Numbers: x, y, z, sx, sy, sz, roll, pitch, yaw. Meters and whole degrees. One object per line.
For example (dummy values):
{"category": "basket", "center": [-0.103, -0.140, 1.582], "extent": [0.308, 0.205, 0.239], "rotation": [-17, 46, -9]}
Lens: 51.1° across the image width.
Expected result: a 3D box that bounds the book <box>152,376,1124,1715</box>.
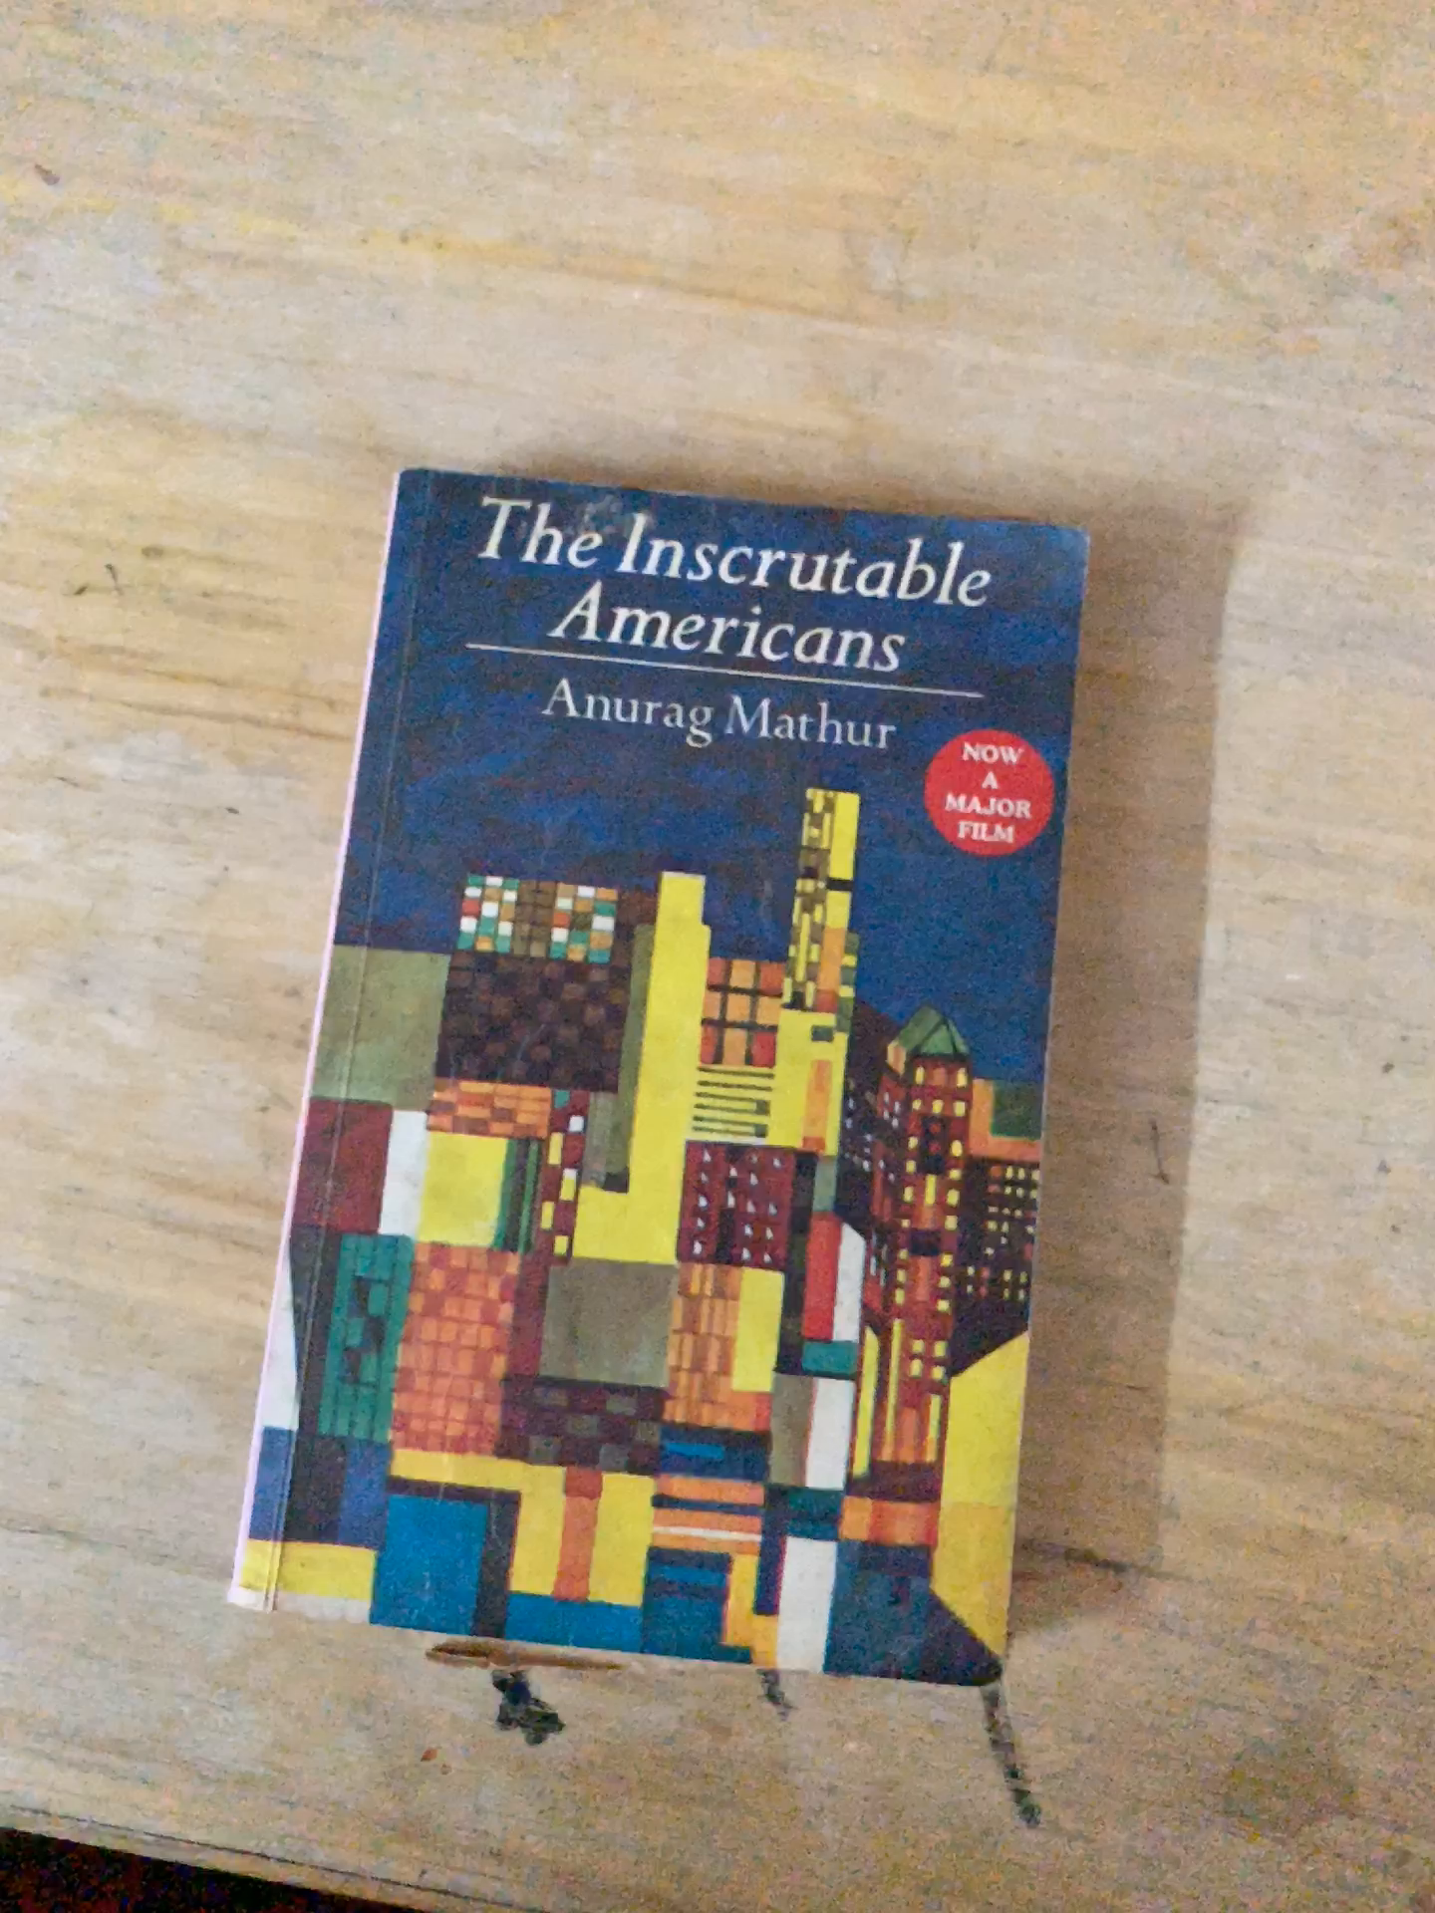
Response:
{"category": "book", "center": [-0.007, 0.009, 0.229], "extent": [0.120, 0.030, 0.180], "rotation": [6, 81, 0]}
